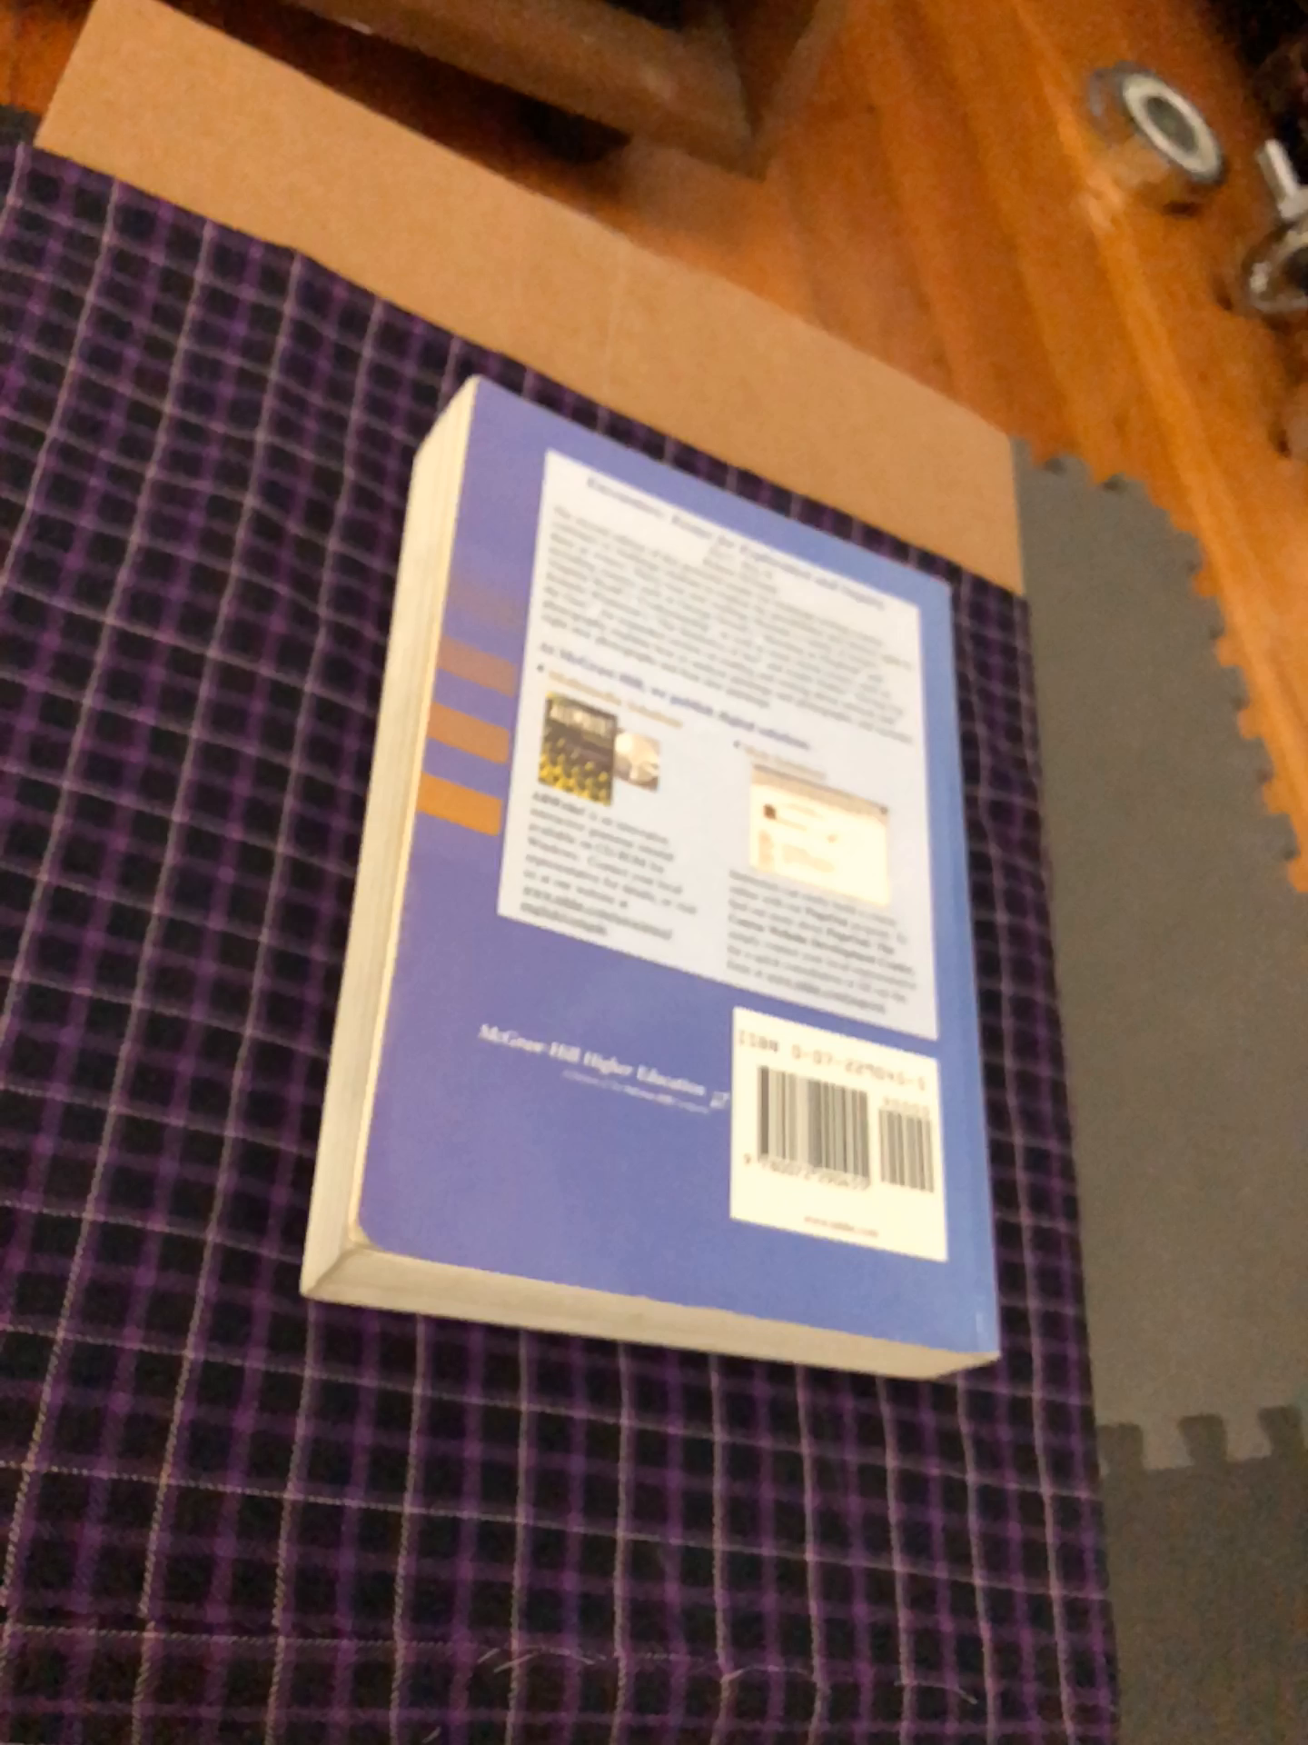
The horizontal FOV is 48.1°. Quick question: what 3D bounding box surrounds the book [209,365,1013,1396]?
[{"bbox_3d":[-0.002,0.000,0.385,0.180,0.040,0.241,15,58,-24],"label":"book"}]
